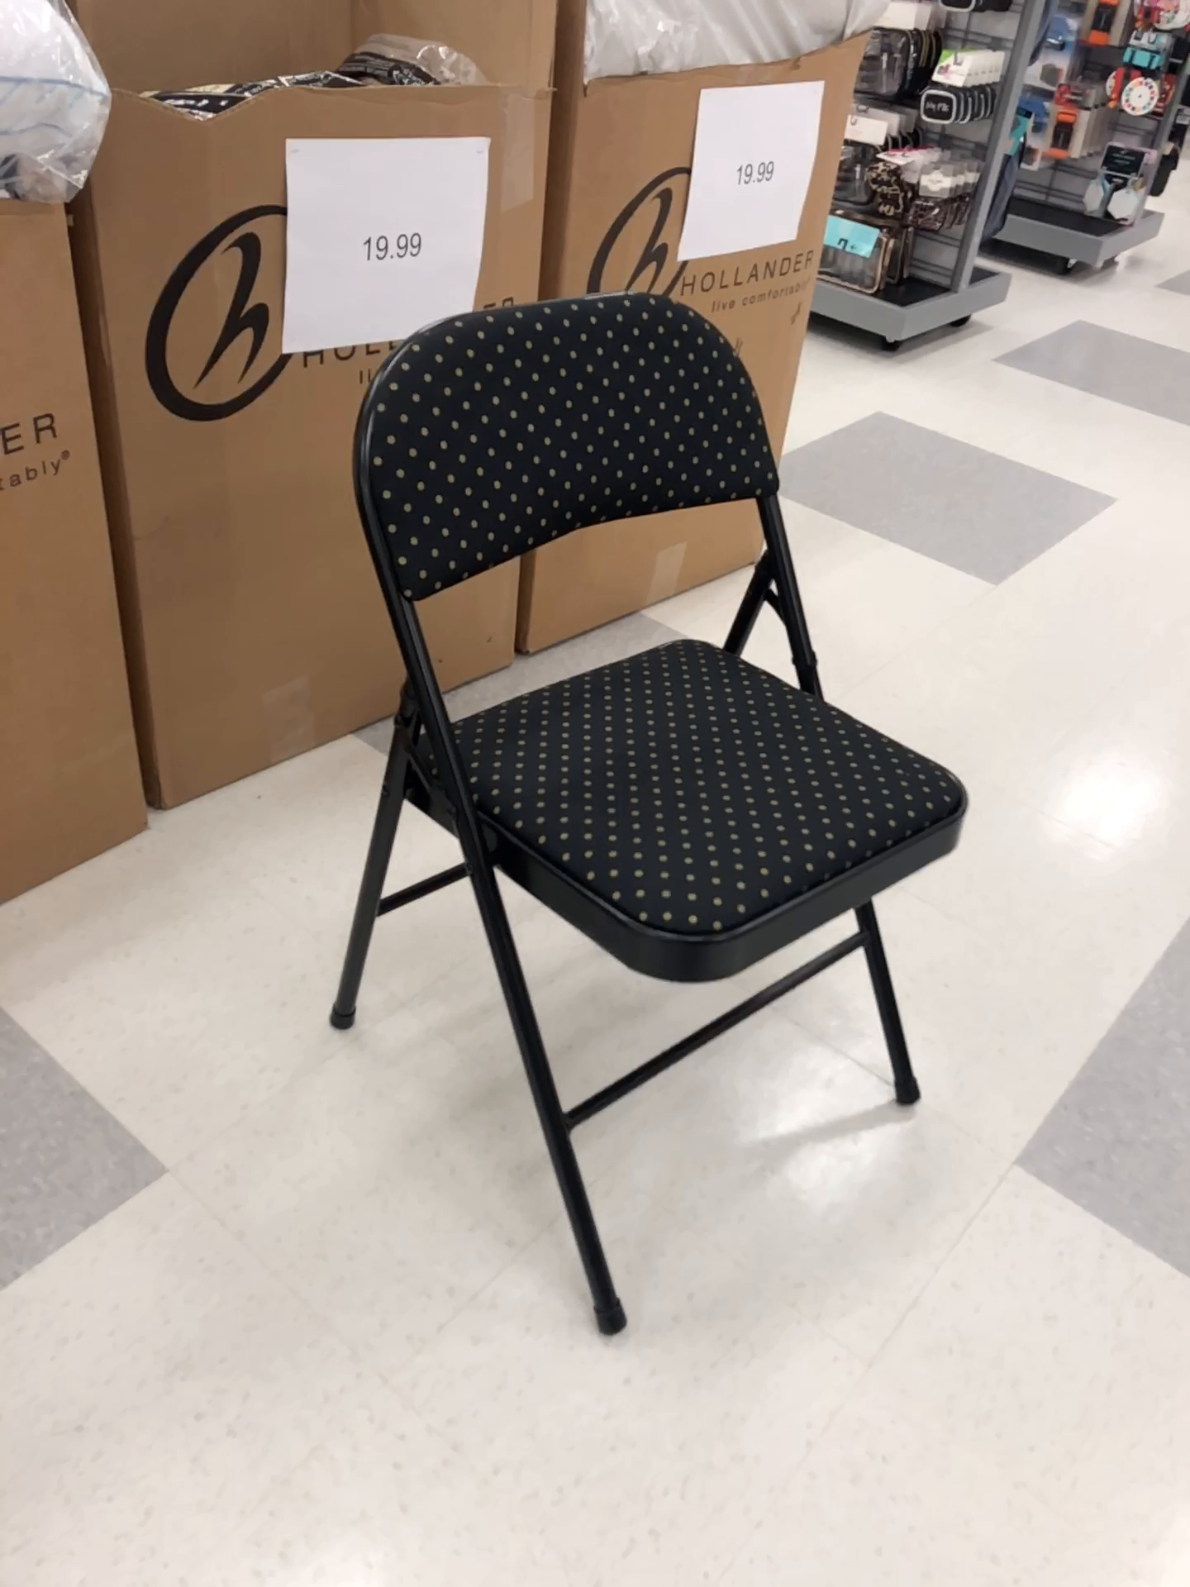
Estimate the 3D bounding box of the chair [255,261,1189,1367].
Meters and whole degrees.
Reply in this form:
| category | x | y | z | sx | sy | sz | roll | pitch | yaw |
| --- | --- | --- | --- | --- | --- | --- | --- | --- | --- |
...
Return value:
| category | x | y | z | sx | sy | sz | roll | pitch | yaw |
| --- | --- | --- | --- | --- | --- | --- | --- | --- | --- |
| chair | 0.061 | -0.011 | 1.200 | 0.486 | 0.729 | 0.540 | -24 | 47 | -35 |
